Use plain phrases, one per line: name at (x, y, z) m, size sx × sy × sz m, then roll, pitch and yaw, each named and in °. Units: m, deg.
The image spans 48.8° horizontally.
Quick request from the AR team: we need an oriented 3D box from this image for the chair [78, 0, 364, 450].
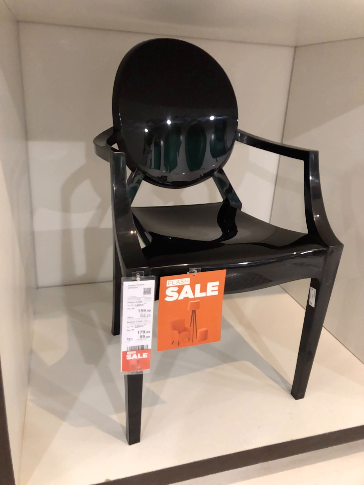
chair at (0.049, -0.064, 1.013) m, size 0.511 × 0.854 × 0.493 m, roll -5°, pitch 22°, yaw -21°
